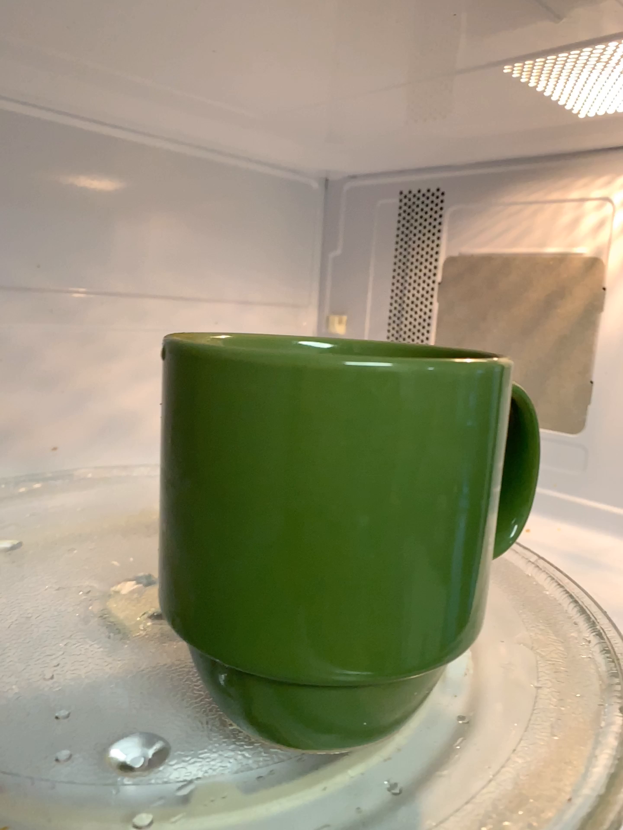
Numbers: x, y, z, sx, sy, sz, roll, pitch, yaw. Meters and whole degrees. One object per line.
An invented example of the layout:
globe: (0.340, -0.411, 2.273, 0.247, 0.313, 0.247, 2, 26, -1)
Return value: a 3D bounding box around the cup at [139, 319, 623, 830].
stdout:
cup: (0.034, 0.026, 0.168, 0.130, 0.090, 0.080, -2, 11, -35)
